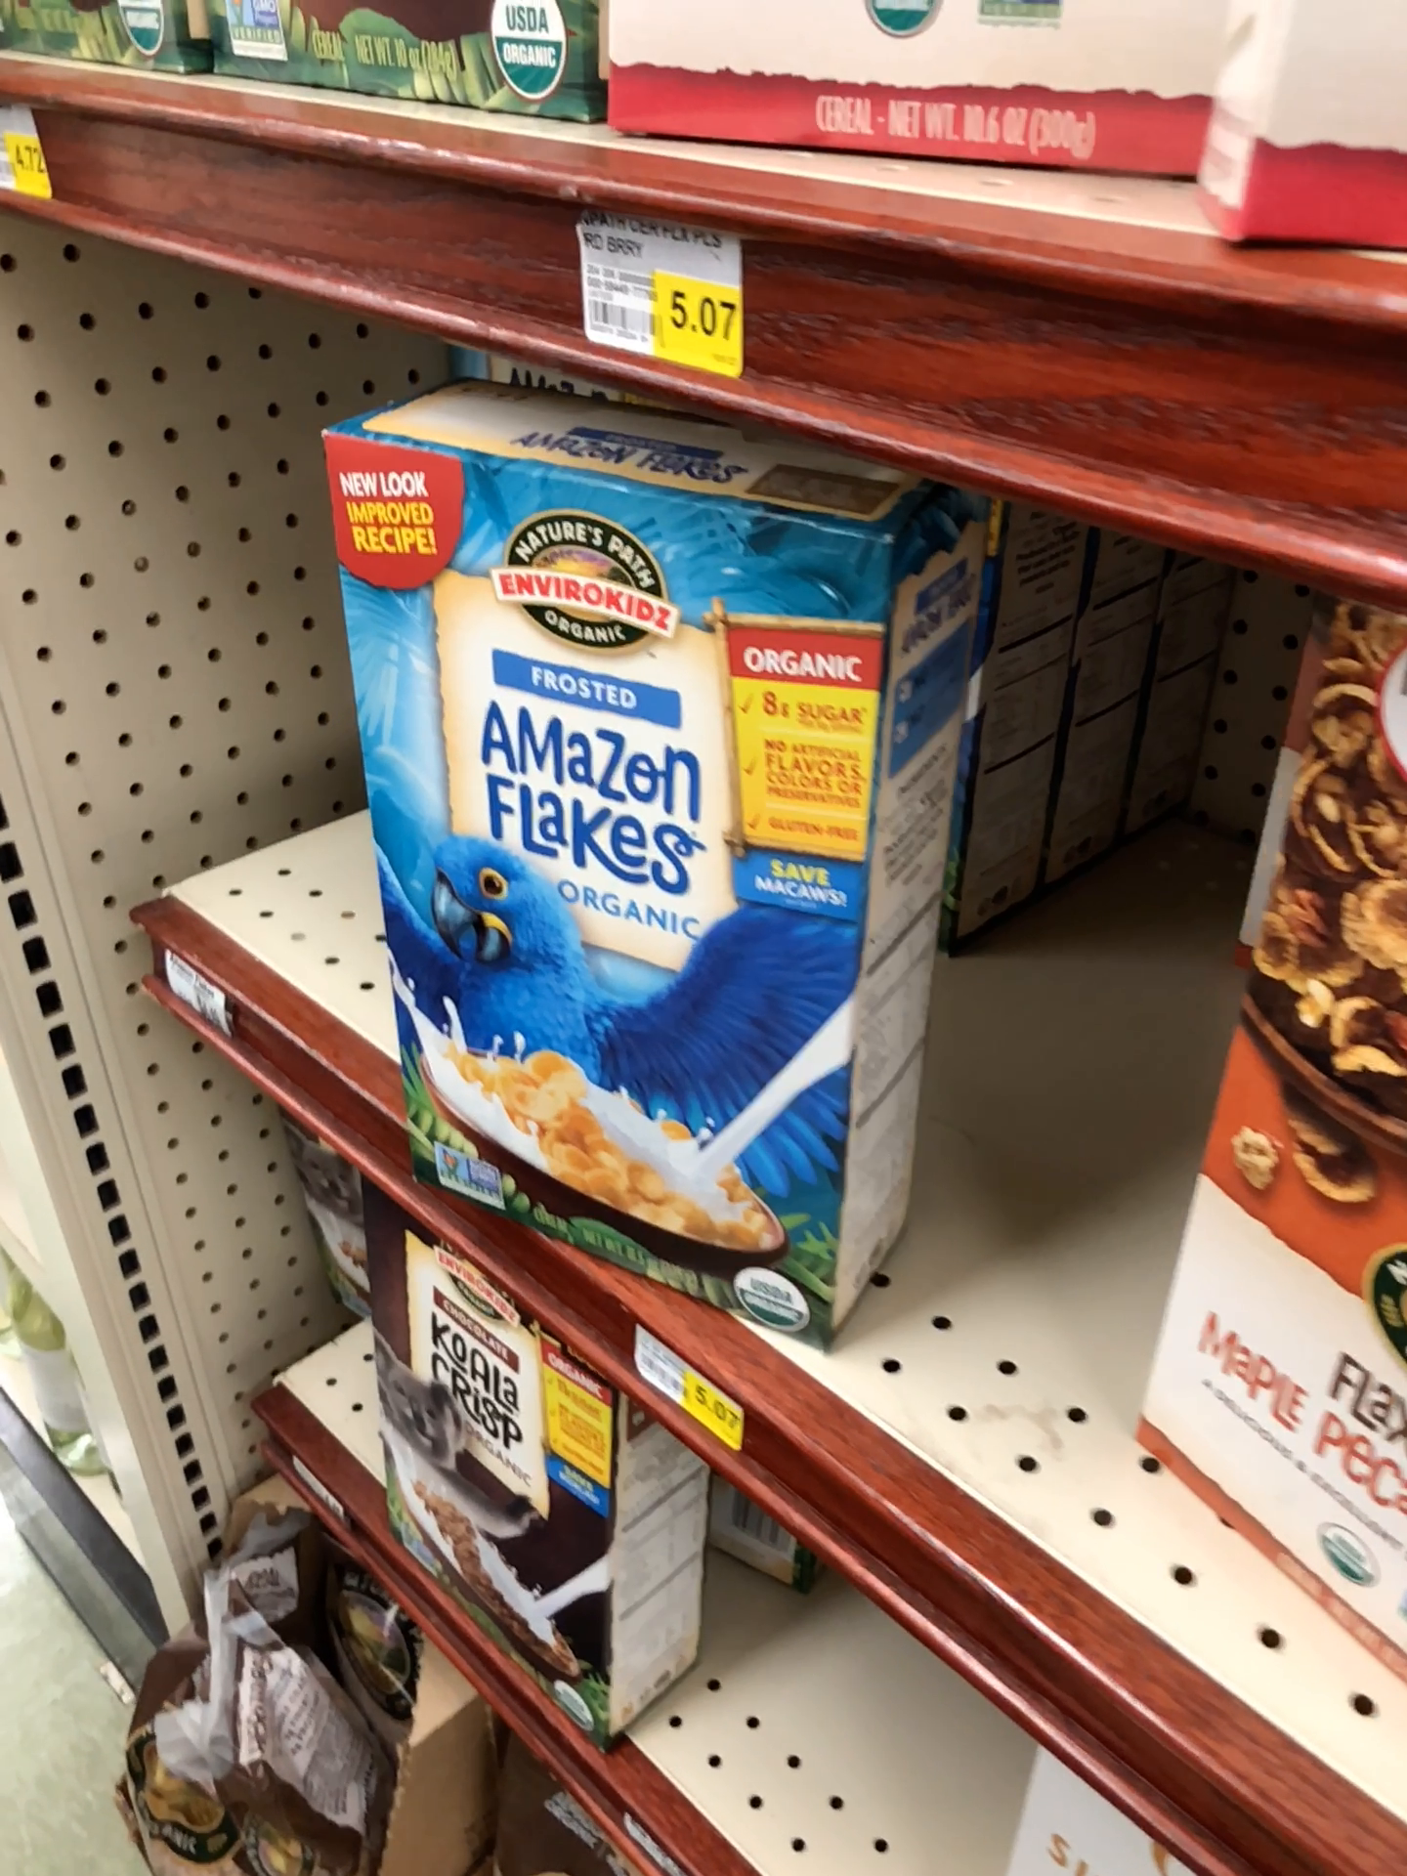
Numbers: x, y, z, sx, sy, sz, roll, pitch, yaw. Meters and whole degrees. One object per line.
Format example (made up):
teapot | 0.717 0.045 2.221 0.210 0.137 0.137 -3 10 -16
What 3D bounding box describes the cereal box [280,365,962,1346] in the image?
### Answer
cereal box | -0.020 -0.018 0.457 0.160 0.259 0.060 17 39 25
